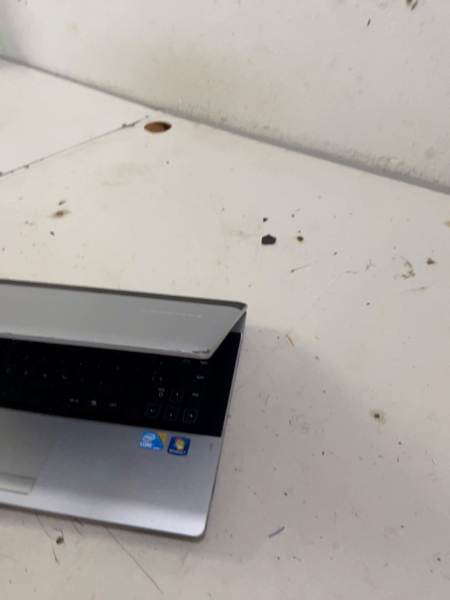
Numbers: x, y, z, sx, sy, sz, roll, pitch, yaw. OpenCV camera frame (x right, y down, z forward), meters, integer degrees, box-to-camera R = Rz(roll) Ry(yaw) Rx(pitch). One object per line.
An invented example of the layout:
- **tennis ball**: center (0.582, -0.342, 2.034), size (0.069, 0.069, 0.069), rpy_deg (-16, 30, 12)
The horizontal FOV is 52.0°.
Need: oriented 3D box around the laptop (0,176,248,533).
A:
- **laptop**: center (-0.164, 0.022, 0.389), size (0.336, 0.133, 0.233), rpy_deg (6, 43, 7)
